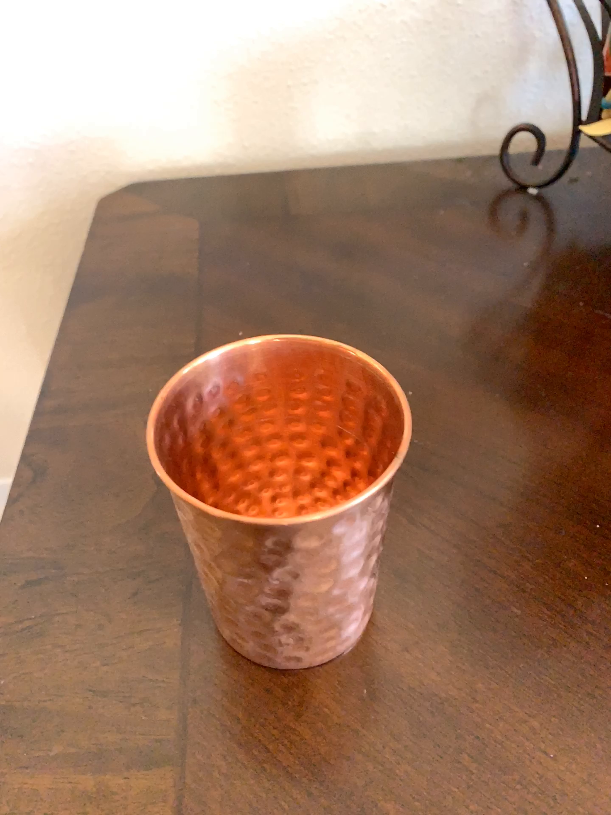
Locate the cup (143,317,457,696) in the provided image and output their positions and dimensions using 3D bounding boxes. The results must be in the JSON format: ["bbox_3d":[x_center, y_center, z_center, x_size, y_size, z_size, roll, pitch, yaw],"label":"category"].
[{"bbox_3d":[-0.006,0.030,0.194,0.070,0.082,0.067,0,42,0],"label":"cup"}]
